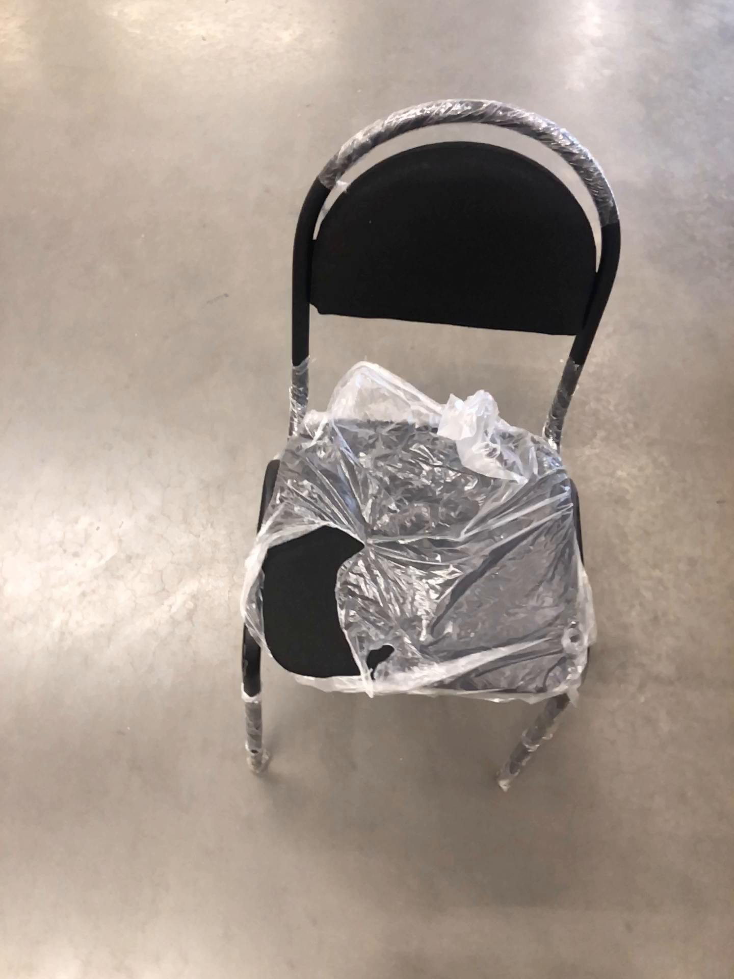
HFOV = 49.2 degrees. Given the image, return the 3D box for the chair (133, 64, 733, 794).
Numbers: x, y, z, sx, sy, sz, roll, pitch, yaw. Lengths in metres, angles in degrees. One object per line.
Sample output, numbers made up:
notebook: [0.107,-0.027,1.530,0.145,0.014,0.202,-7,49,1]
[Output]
chair: [0.063,0.042,1.054,0.450,0.876,0.552,4,63,-1]
